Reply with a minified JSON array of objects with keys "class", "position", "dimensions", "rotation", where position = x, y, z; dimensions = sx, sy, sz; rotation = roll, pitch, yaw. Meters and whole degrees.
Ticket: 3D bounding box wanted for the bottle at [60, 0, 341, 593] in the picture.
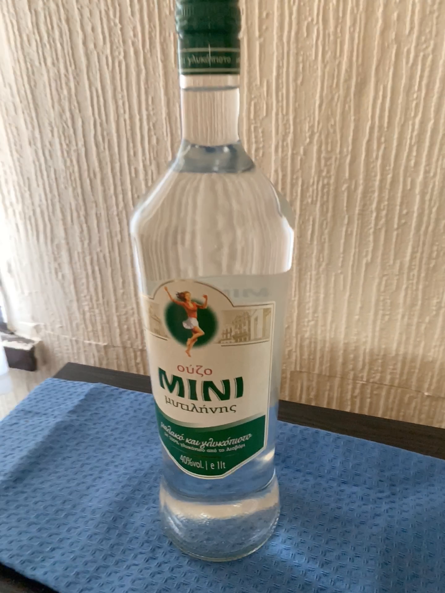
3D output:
[{"class":"bottle","position":[0.000,0.015,0.248],"dimensions":[0.090,0.317,0.071],"rotation":[8,27,18]}]
